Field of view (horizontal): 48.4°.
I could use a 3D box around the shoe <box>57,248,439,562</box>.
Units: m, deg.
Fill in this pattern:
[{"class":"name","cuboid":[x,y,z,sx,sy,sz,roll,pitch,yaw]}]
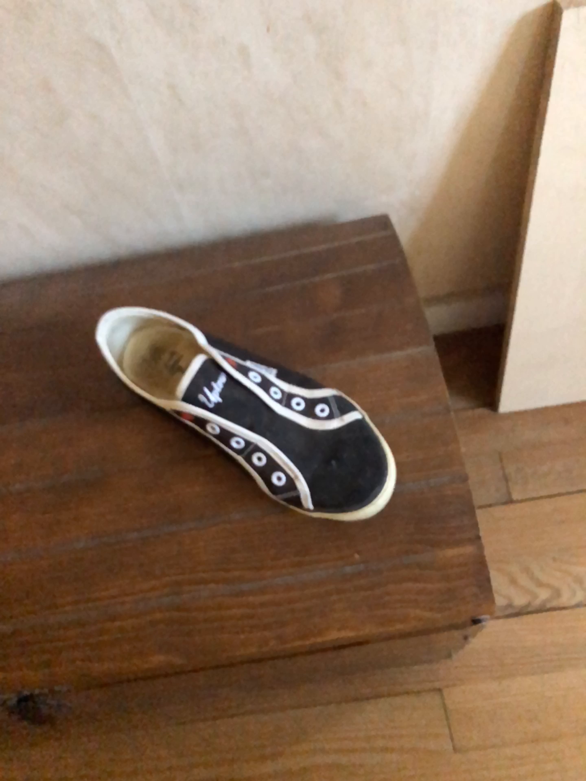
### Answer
[{"class":"shoe","cuboid":[-0.031,0.008,0.464,0.240,0.080,0.100,30,75,17]}]
